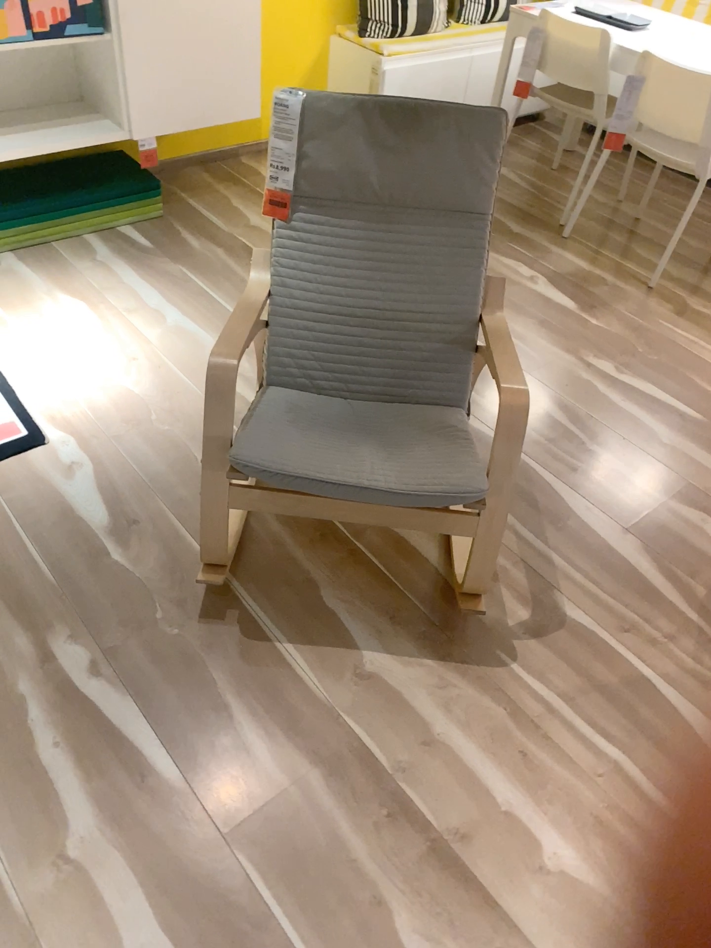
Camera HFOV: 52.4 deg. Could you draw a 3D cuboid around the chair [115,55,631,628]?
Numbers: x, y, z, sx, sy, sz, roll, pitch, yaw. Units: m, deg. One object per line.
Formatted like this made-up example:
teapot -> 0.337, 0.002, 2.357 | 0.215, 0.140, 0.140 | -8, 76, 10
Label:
chair -> 0.007, -0.264, 1.593 | 0.730, 0.917, 0.723 | 7, 45, -1
